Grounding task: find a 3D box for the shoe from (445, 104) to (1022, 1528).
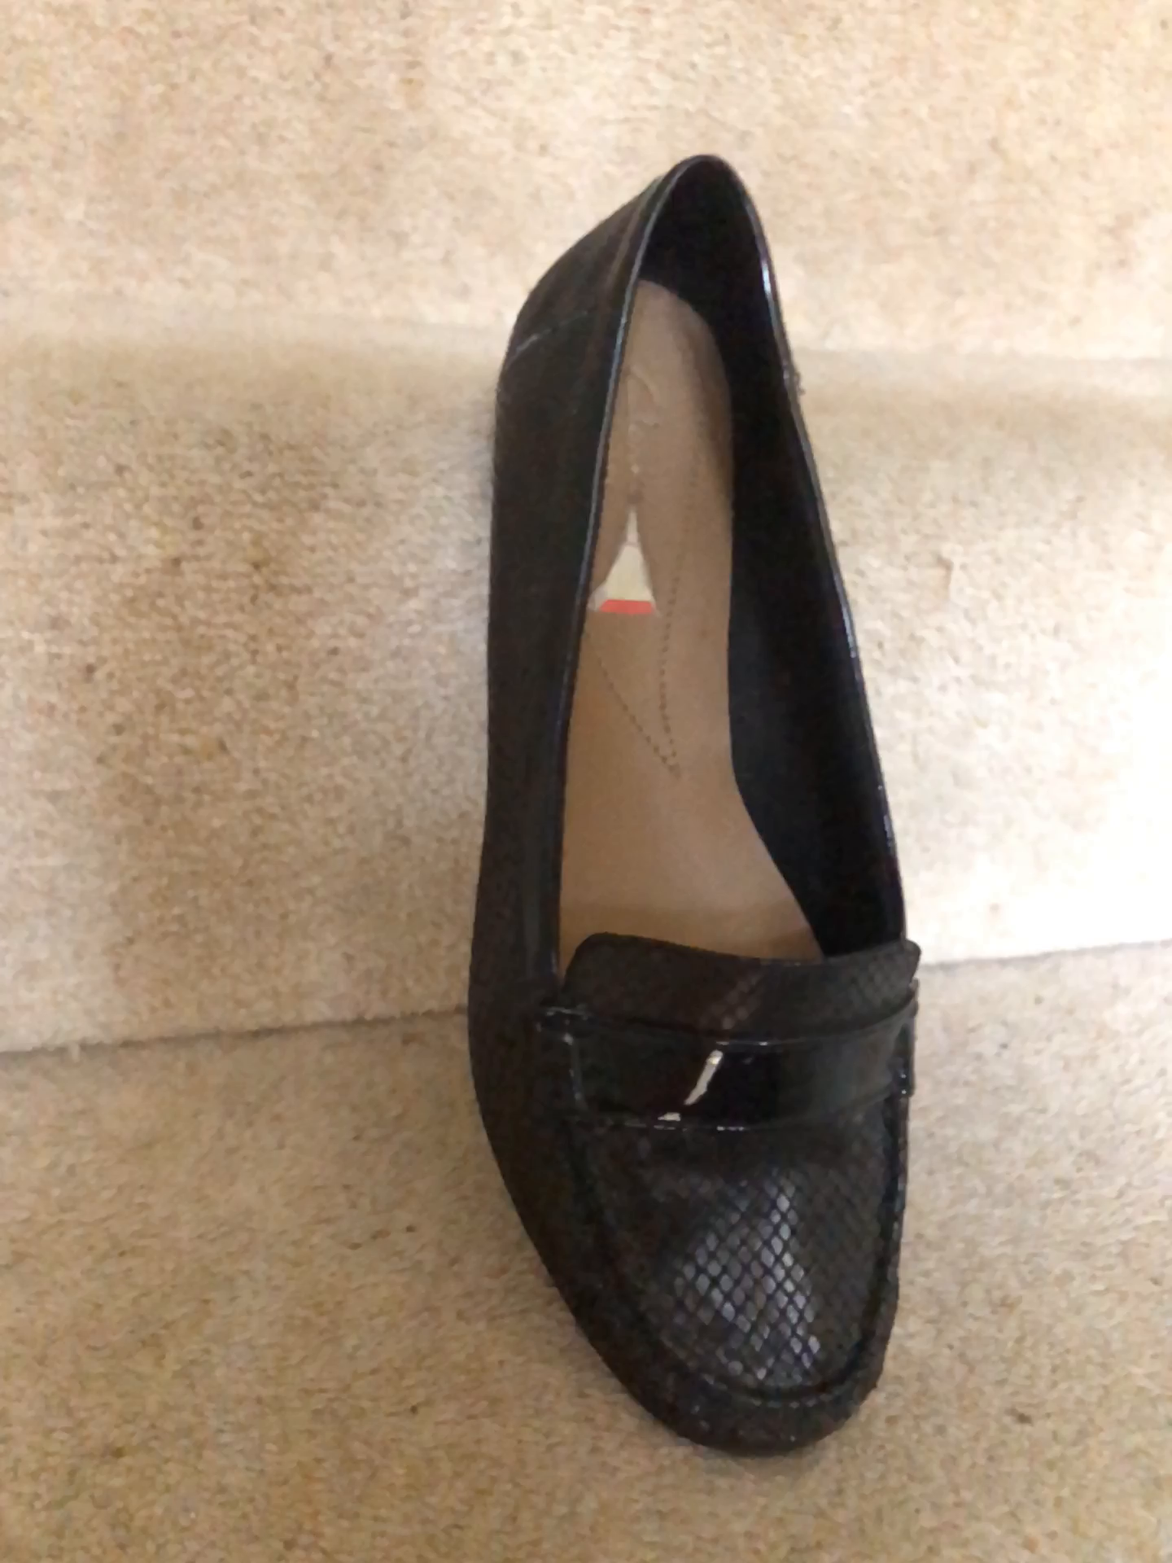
[{"bbox_3d":[0.027,0.003,0.288,0.090,0.260,0.070,-1,-5,-23],"label":"shoe"}]
